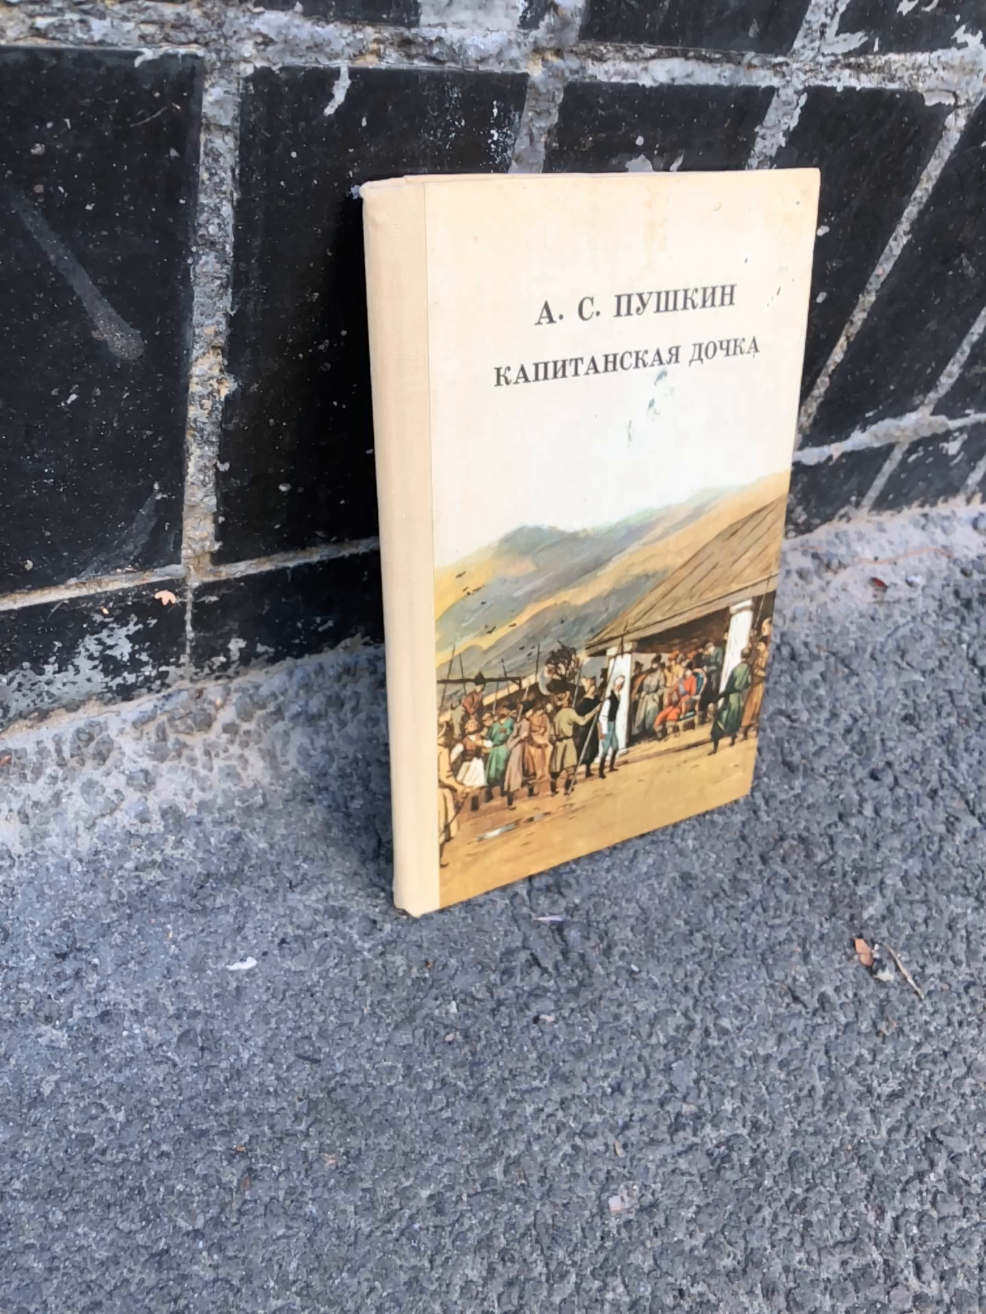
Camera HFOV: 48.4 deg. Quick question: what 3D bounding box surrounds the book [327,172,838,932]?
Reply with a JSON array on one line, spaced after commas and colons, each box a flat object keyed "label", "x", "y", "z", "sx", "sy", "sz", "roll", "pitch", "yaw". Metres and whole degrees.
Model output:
[{"label": "book", "x": 0.027, "y": -0.030, "z": 0.335, "sx": 0.150, "sy": 0.214, "sz": 0.020, "roll": -14, "pitch": 31, "yaw": -29}]
